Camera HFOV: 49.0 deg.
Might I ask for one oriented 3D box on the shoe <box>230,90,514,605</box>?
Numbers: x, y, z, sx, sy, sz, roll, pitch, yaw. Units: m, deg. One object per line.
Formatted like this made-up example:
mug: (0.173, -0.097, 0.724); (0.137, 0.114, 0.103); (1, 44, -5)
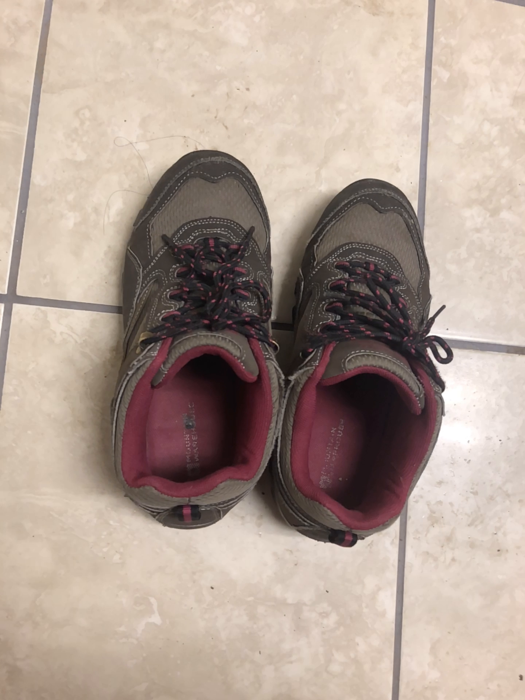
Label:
shoe: (0.060, 0.001, 0.365); (0.110, 0.120, 0.260); (10, 83, -7)

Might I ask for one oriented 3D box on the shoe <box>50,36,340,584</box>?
shoe: (-0.037, -0.018, 0.352); (0.120, 0.120, 0.270); (6, 84, -8)
